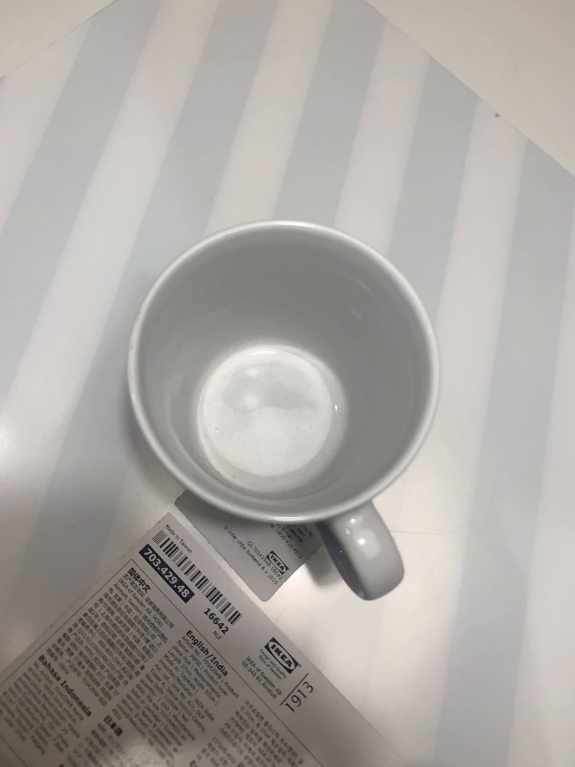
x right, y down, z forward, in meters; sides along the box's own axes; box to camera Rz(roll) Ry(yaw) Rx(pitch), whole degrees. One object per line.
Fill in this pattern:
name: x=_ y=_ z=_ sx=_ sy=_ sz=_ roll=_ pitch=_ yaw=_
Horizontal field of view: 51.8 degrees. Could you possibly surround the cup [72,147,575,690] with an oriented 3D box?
cup: x=0.006 y=0.011 z=0.184 sx=0.080 sy=0.080 sz=0.110 roll=-31 pitch=80 yaw=-12
